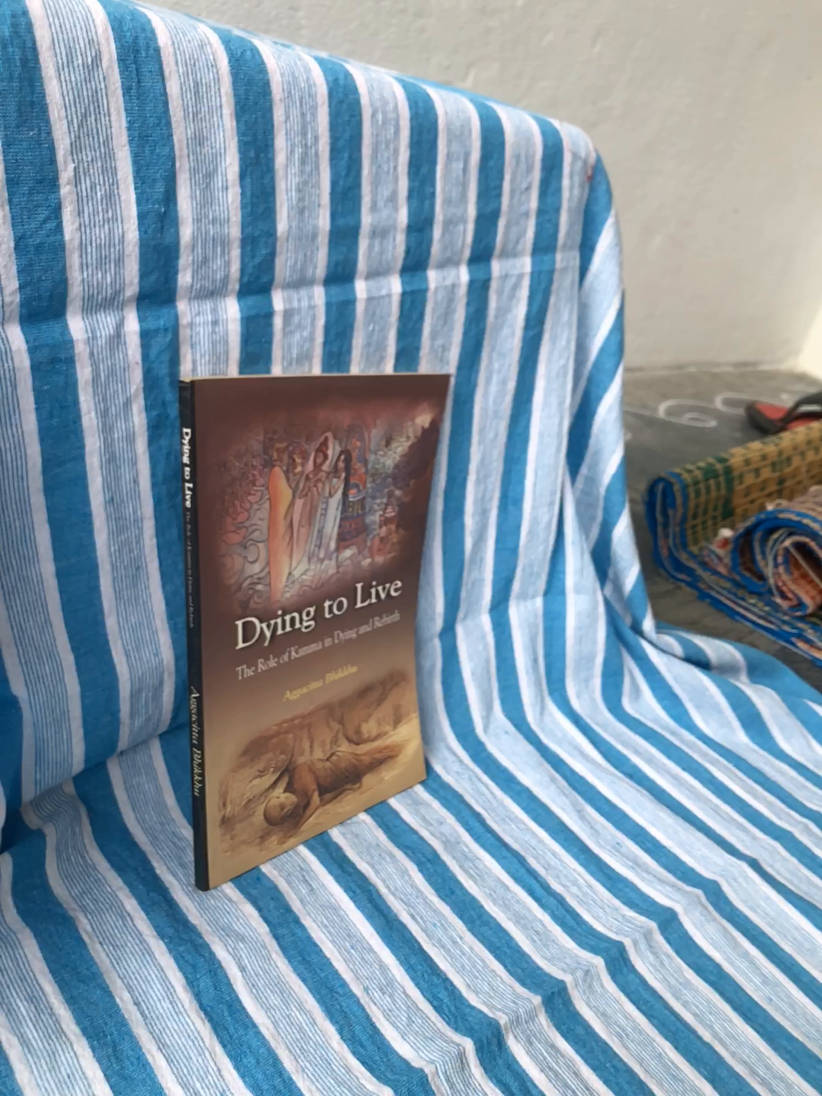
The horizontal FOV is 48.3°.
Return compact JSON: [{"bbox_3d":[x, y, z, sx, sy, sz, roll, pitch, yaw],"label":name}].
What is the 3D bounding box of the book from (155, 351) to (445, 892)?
[{"bbox_3d":[-0.040,0.021,0.408,0.020,0.210,0.151,9,13,39],"label":"book"}]
